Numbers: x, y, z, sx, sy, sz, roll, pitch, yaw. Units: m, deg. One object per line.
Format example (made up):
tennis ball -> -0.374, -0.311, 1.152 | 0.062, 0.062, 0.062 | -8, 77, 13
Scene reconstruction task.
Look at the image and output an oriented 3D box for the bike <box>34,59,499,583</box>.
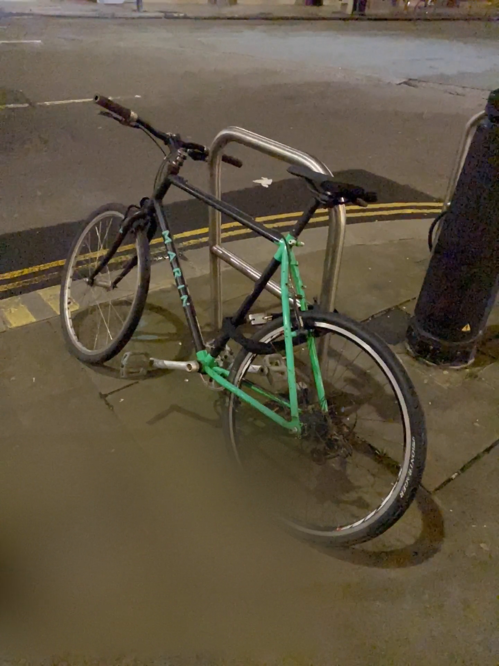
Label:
bike -> 0.026, -0.244, 1.767 | 0.641, 1.014, 1.691 | -27, 45, -34
